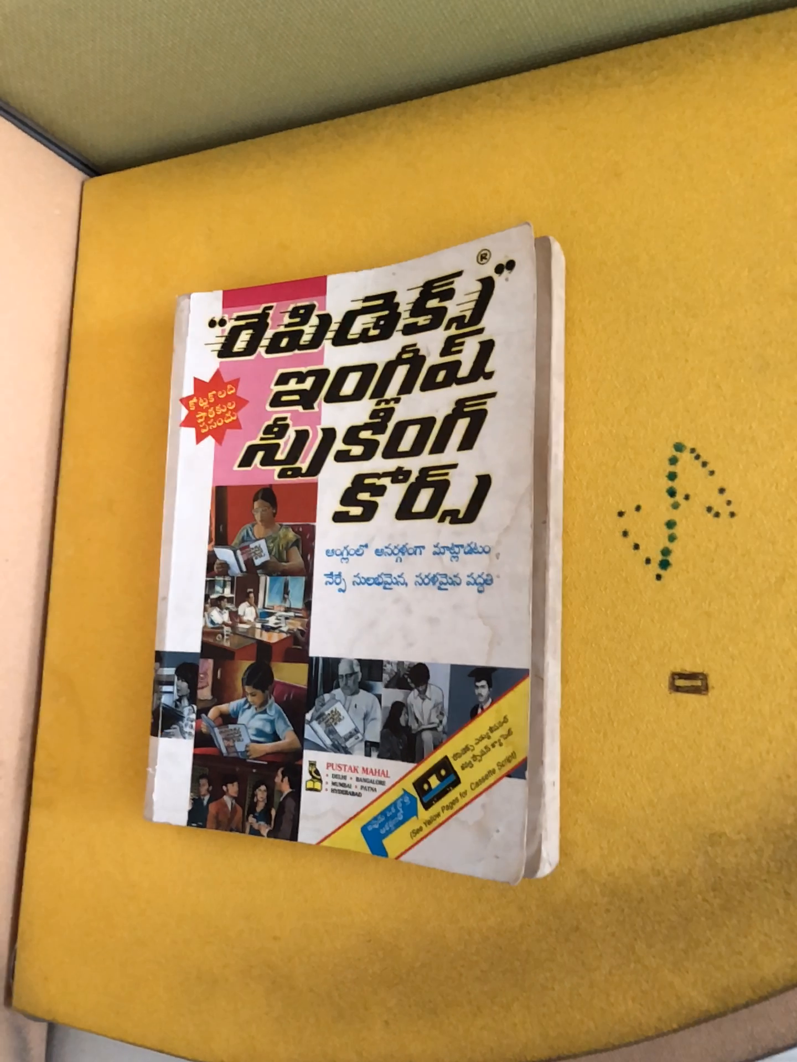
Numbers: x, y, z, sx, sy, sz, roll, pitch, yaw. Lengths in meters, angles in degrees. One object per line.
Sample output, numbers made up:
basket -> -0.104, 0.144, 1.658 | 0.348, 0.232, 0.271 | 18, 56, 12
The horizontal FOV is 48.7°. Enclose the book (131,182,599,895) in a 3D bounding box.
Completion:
book -> -0.017, 0.001, 0.361 | 0.190, 0.030, 0.250 | -2, 81, 26
